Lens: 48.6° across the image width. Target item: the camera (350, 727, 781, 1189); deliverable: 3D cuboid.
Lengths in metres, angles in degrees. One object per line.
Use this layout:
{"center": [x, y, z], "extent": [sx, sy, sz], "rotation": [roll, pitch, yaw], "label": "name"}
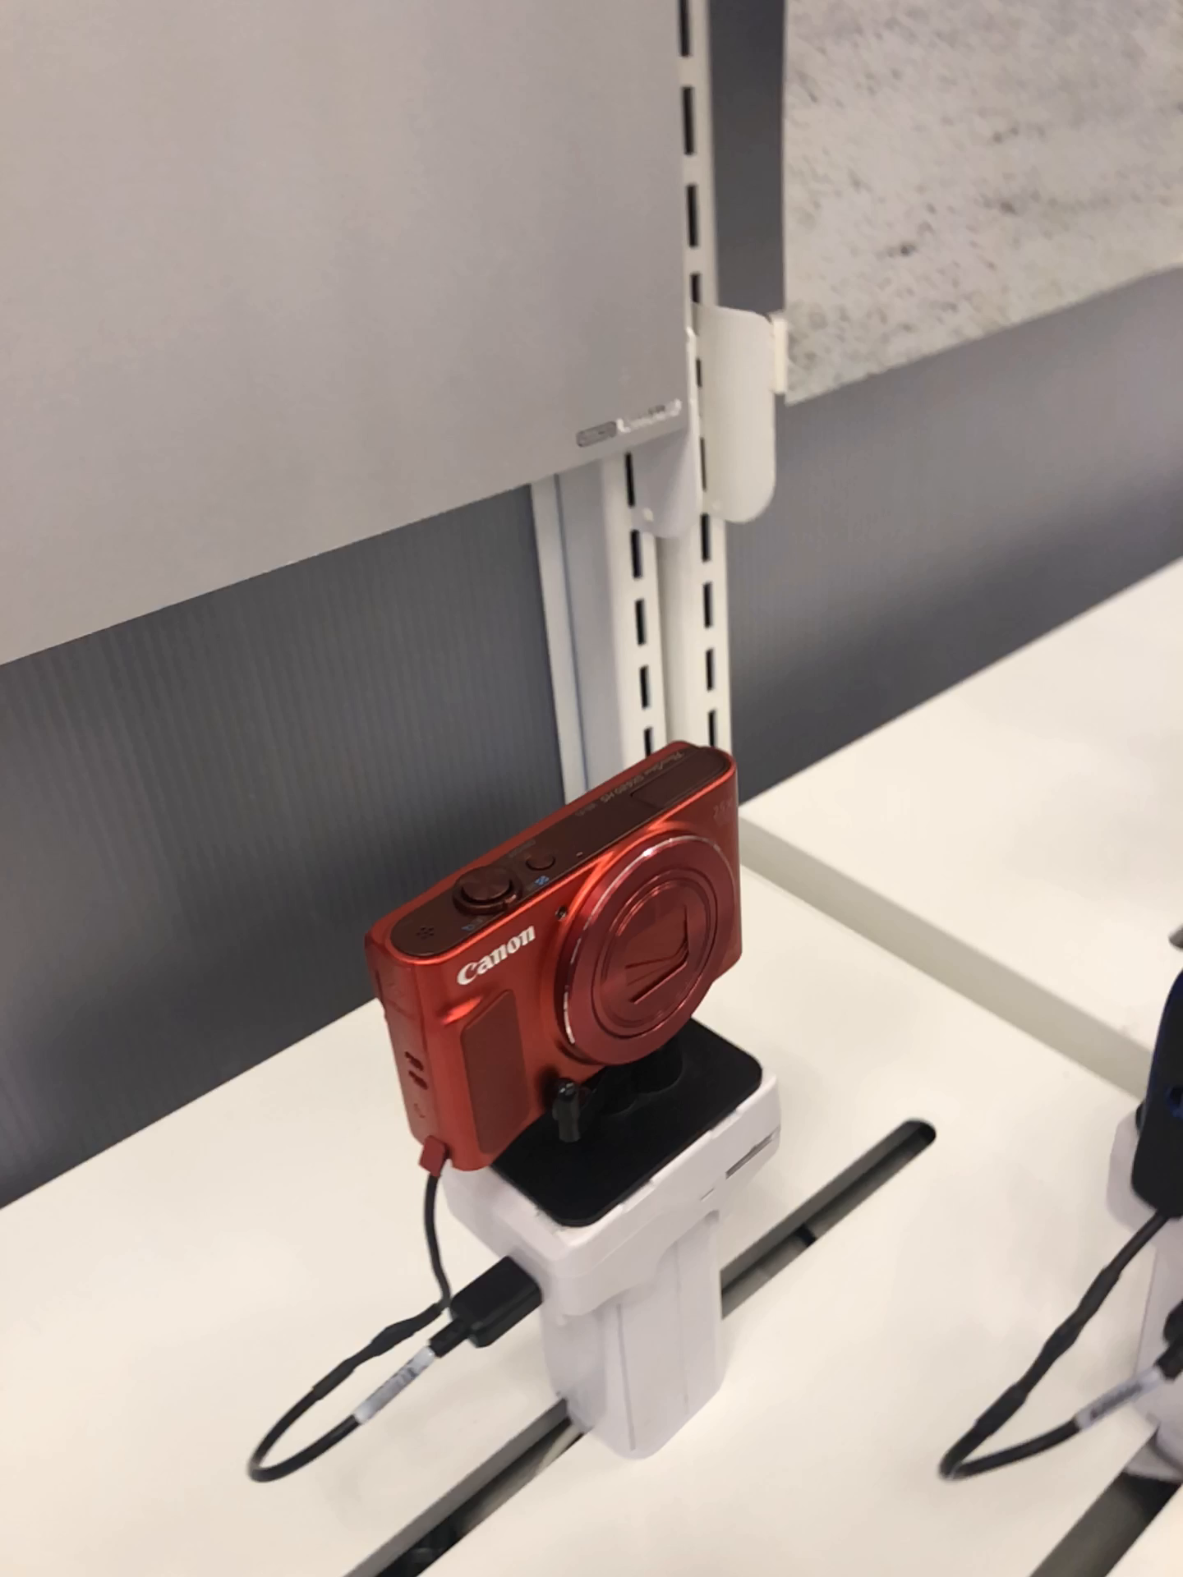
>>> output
{"center": [0.000, 0.033, 0.284], "extent": [0.096, 0.052, 0.028], "rotation": [-31, 40, -34], "label": "camera"}
